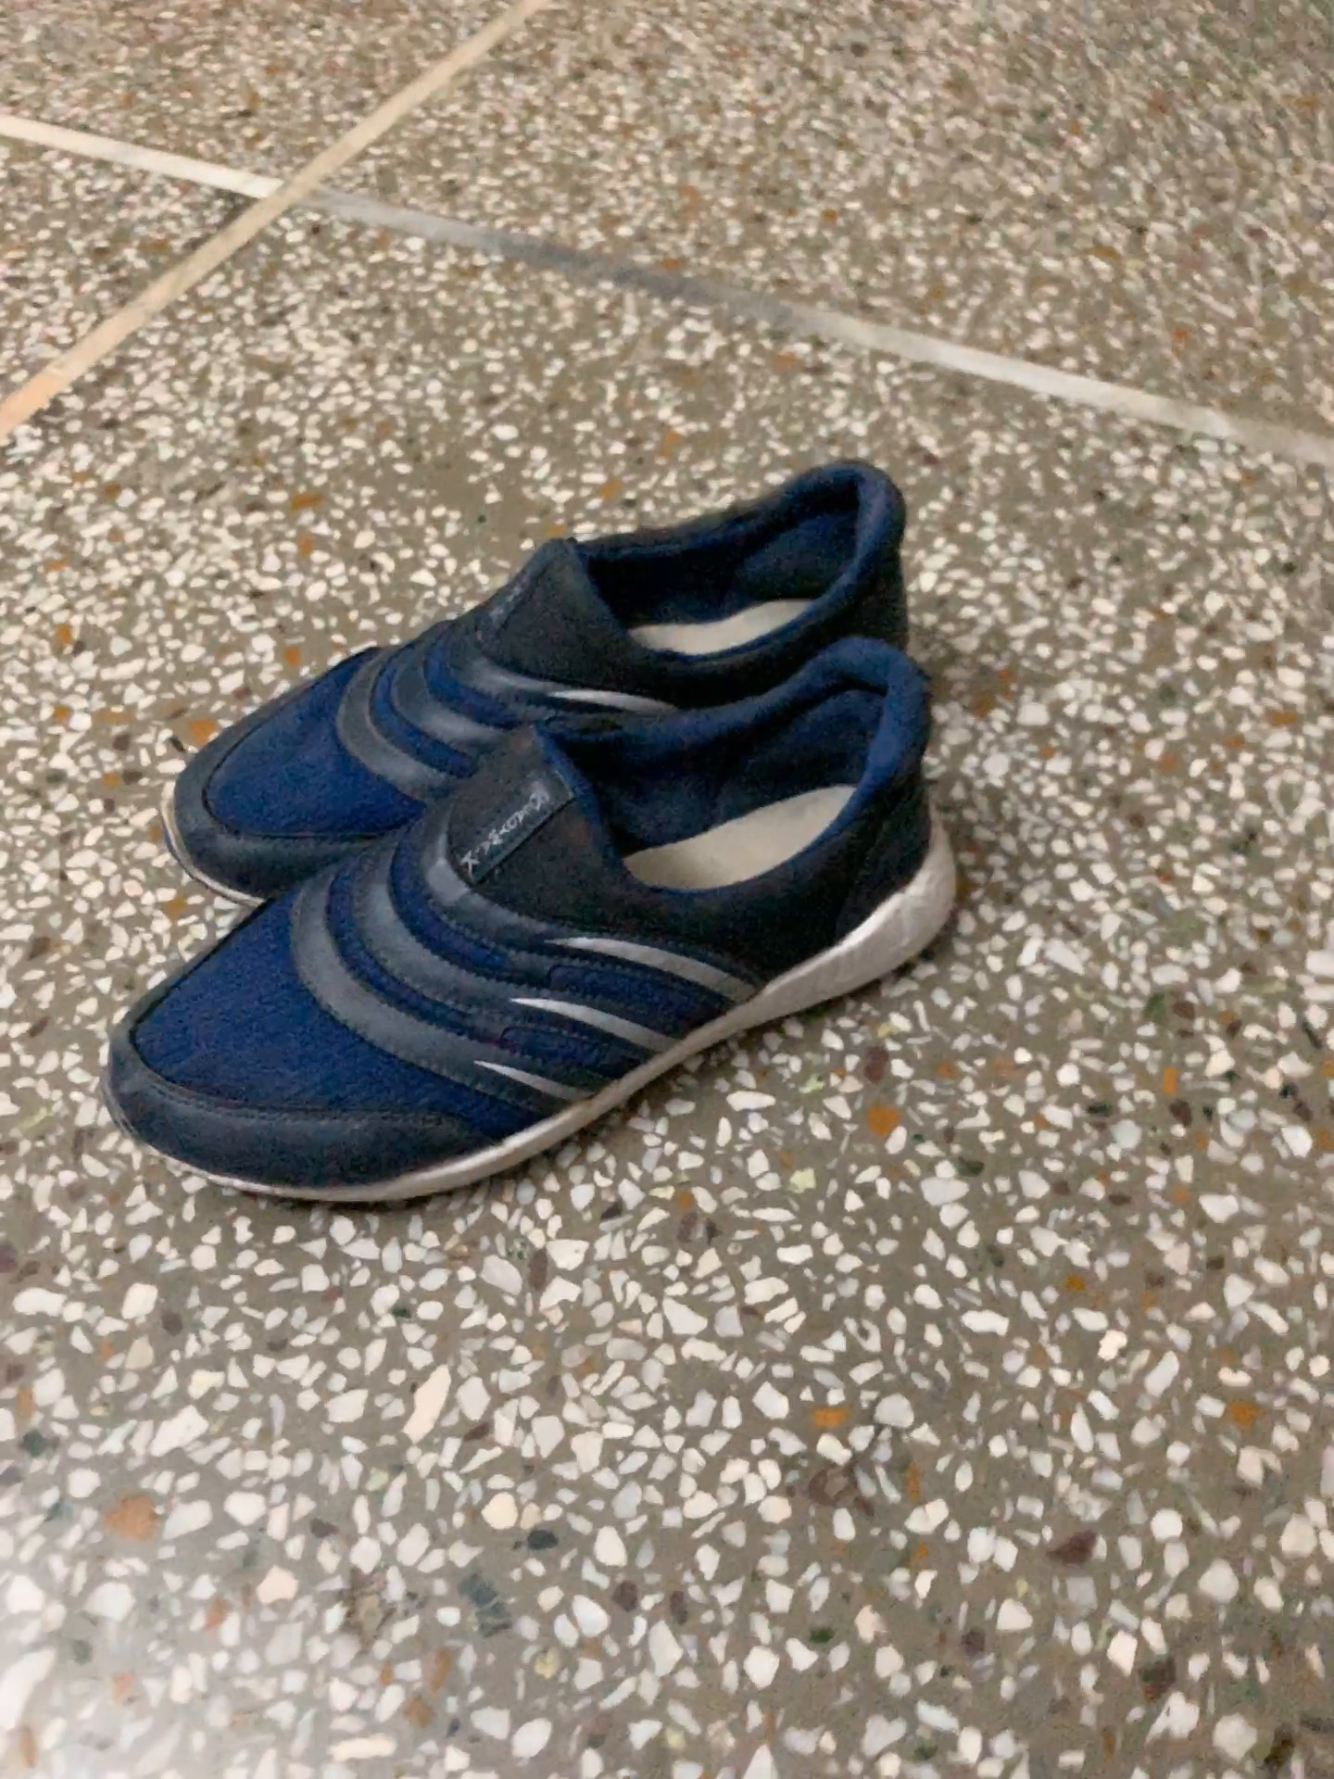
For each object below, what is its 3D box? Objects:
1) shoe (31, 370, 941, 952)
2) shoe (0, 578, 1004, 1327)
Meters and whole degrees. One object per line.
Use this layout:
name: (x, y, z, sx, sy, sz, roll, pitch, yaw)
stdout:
shoe: (-0.059, -0.086, 0.488, 0.283, 0.080, 0.104, -19, 55, -11)
shoe: (-0.046, 0.014, 0.443, 0.280, 0.095, 0.104, -24, 56, -14)
